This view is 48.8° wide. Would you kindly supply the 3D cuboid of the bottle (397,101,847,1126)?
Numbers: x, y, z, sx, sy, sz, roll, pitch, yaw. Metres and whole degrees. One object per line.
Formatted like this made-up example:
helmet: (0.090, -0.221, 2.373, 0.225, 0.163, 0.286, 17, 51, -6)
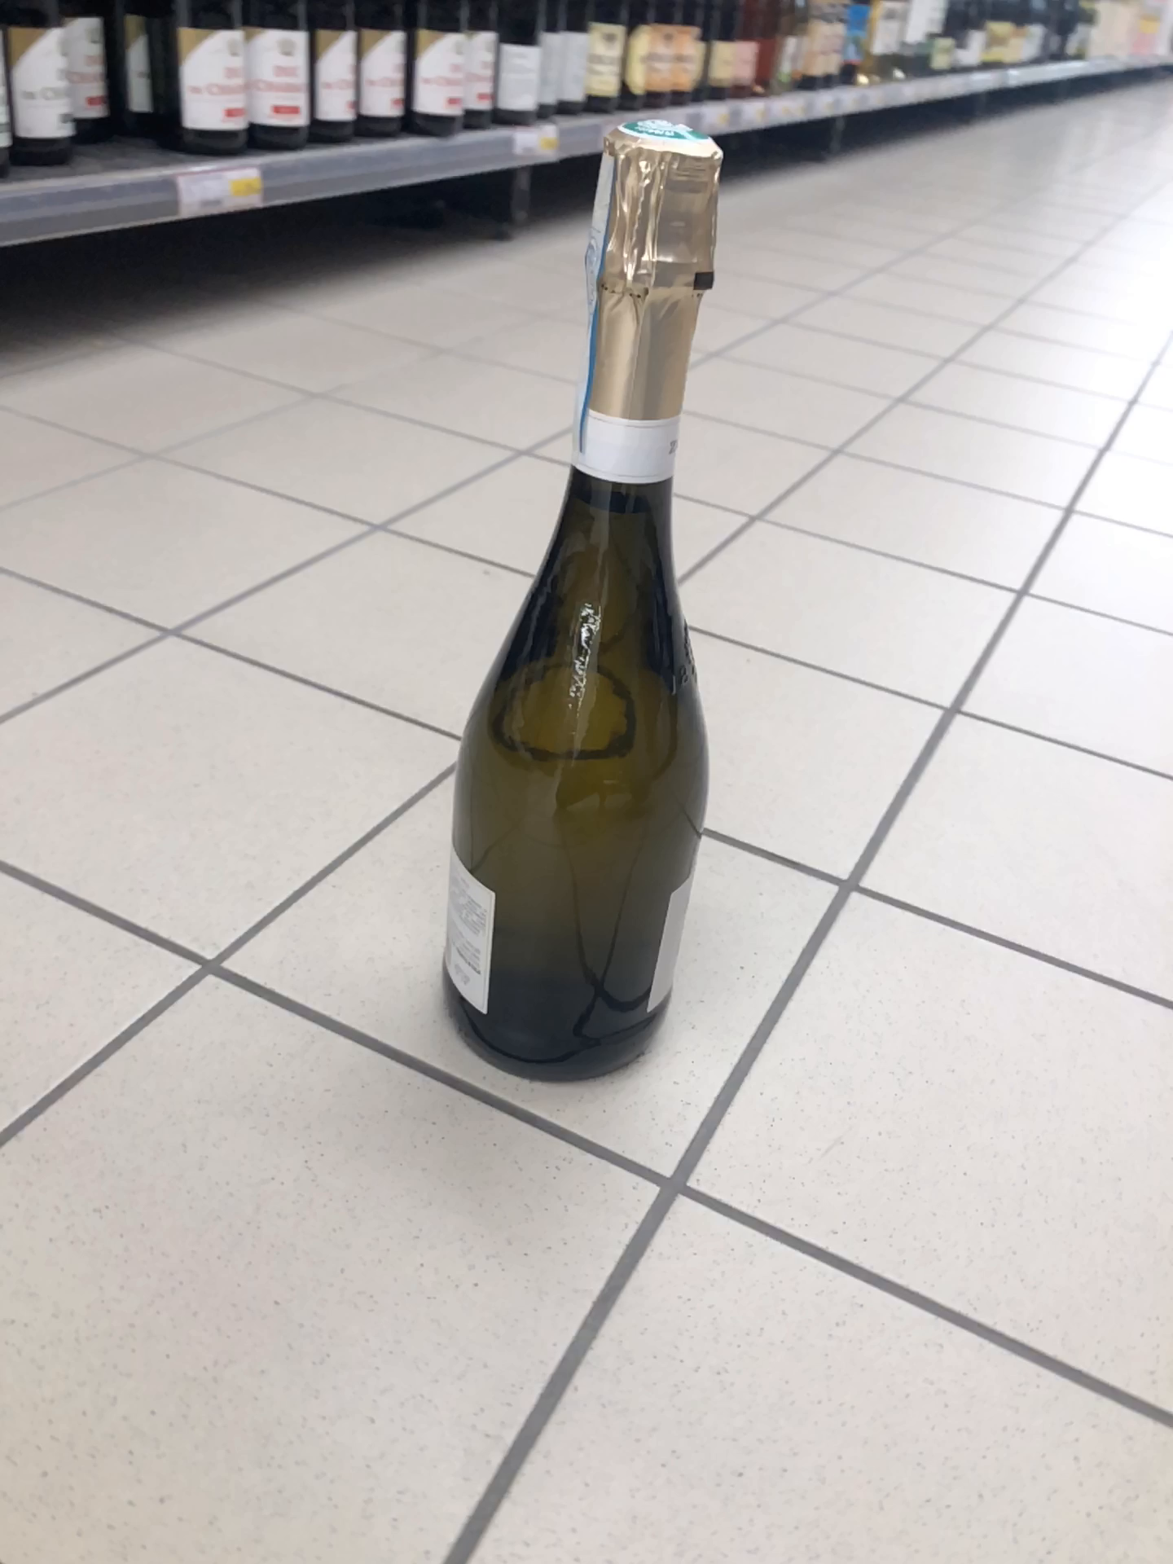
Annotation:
bottle: (-0.008, -0.039, 0.420, 0.090, 0.308, 0.101, -1, 32, -13)
